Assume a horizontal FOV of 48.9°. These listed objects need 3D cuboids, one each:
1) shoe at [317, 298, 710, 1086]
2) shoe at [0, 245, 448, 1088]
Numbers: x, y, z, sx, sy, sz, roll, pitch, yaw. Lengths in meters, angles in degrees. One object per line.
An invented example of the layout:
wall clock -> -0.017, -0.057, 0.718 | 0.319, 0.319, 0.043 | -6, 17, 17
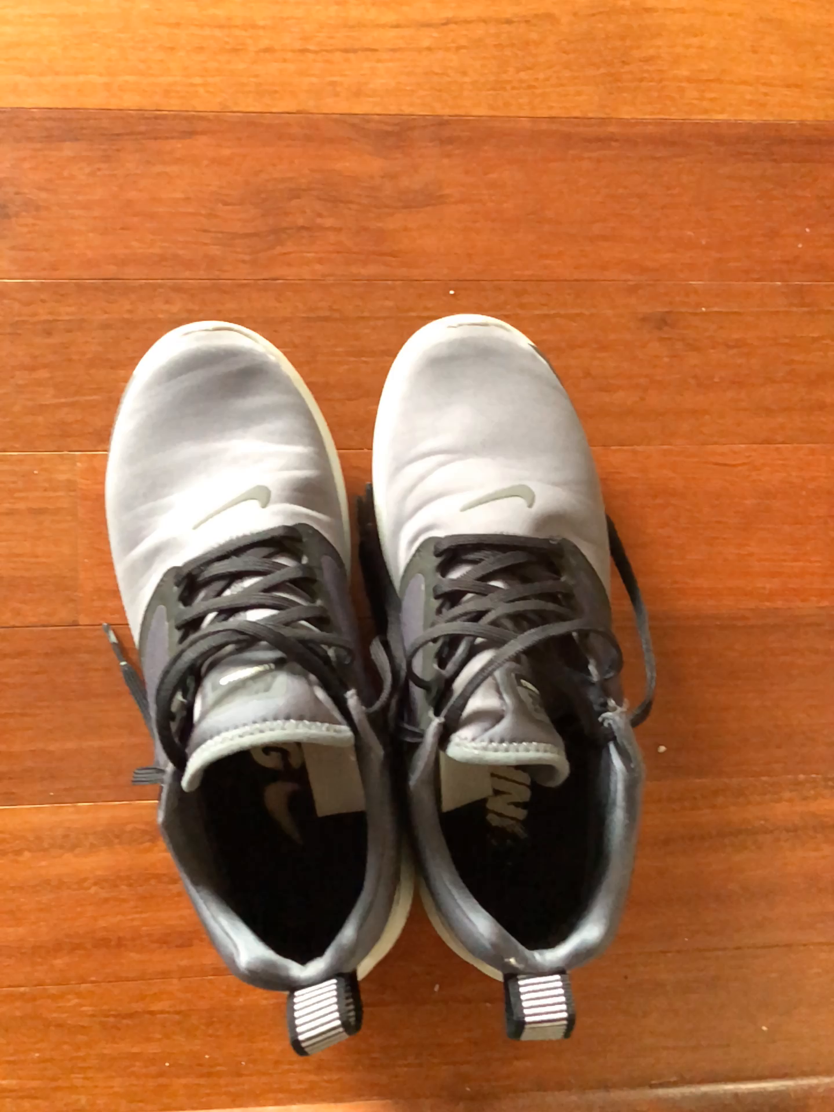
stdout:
shoe -> 0.027, 0.041, 0.339 | 0.110, 0.100, 0.240 | -3, 88, -4
shoe -> -0.070, 0.032, 0.330 | 0.110, 0.100, 0.240 | -11, 88, -4
